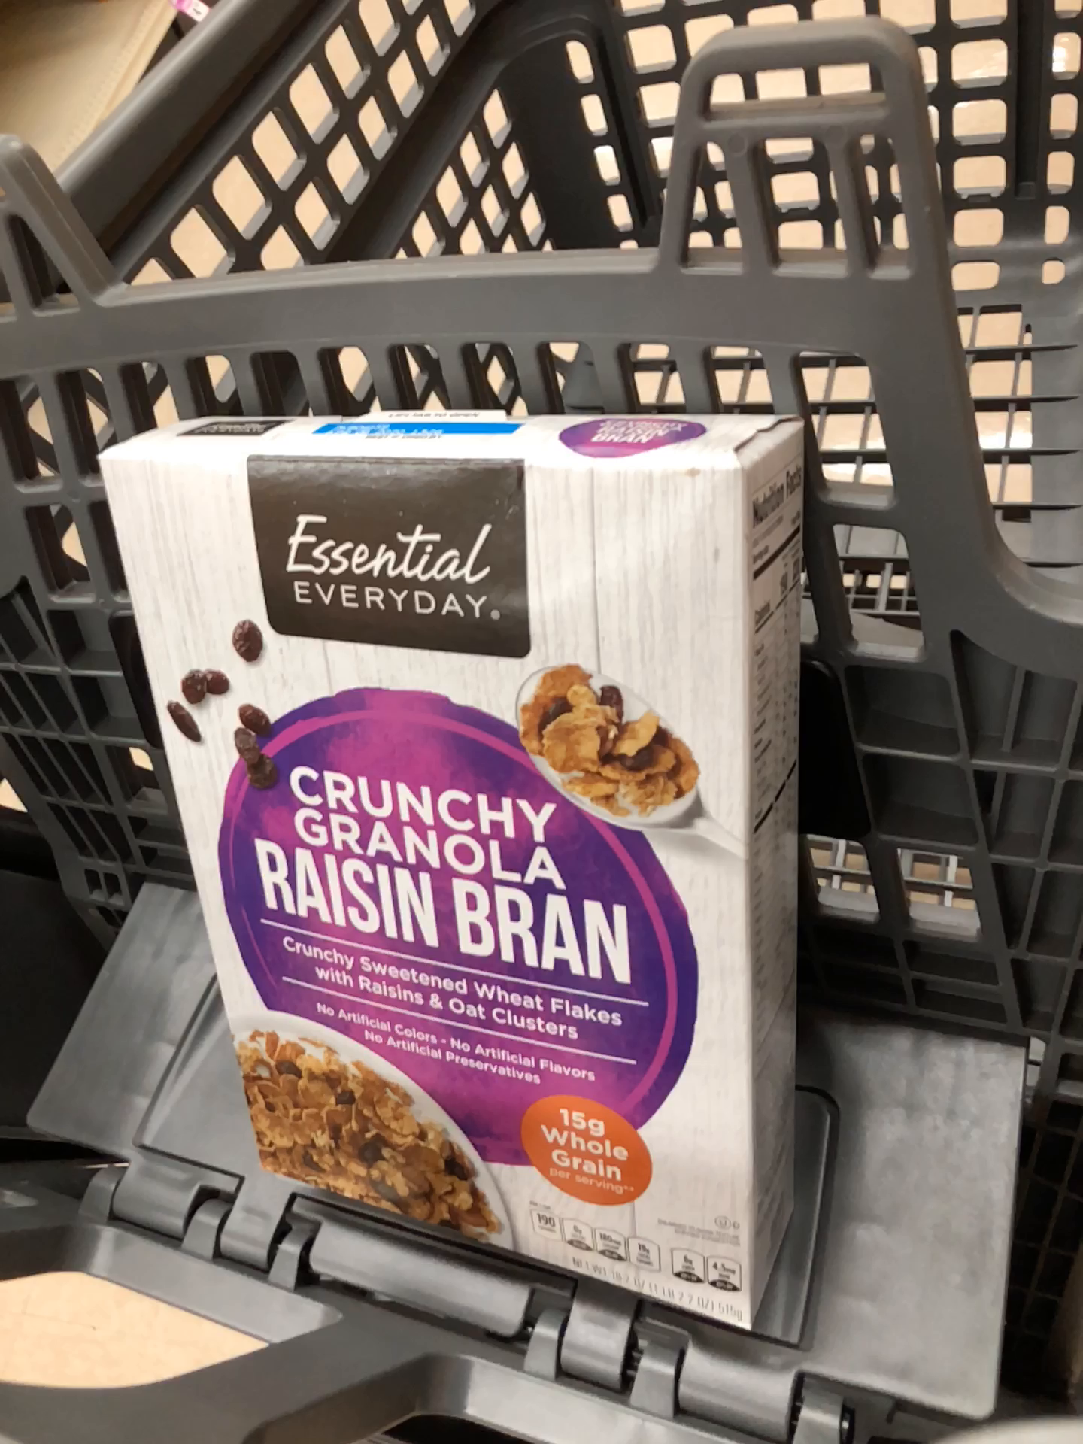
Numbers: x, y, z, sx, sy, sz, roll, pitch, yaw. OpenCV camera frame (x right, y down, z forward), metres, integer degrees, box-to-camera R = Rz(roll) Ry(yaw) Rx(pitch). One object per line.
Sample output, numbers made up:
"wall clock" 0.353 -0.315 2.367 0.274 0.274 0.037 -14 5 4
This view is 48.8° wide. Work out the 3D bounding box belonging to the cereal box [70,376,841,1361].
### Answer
"cereal box" -0.017 0.041 0.378 0.200 0.280 0.070 7 26 25
